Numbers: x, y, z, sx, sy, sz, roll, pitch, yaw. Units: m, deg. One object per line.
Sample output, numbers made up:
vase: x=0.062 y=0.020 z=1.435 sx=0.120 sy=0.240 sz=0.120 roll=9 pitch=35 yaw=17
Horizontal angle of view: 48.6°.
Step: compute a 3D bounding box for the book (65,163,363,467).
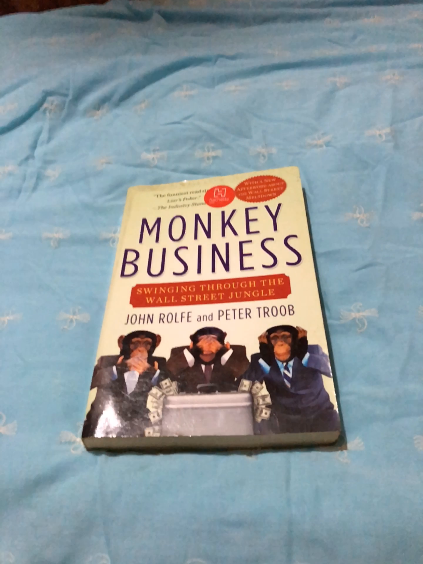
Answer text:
book: x=0.006 y=0.009 z=0.354 sx=0.170 sy=0.040 sz=0.241 roll=-3 pitch=52 yaw=7
